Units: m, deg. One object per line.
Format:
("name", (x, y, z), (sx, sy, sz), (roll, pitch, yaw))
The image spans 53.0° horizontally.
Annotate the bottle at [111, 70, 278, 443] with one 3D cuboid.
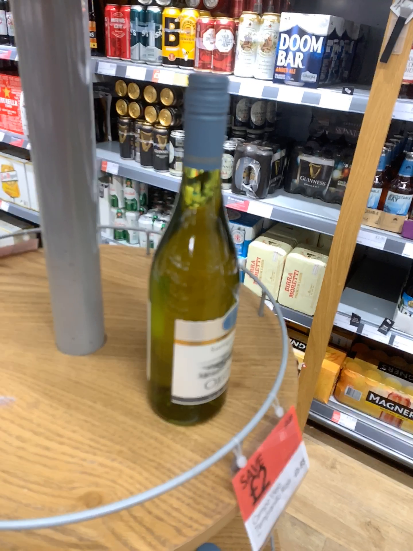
("bottle", (-0.015, -0.005, 0.339), (0.080, 0.284, 0.081), (4, 29, -2))
